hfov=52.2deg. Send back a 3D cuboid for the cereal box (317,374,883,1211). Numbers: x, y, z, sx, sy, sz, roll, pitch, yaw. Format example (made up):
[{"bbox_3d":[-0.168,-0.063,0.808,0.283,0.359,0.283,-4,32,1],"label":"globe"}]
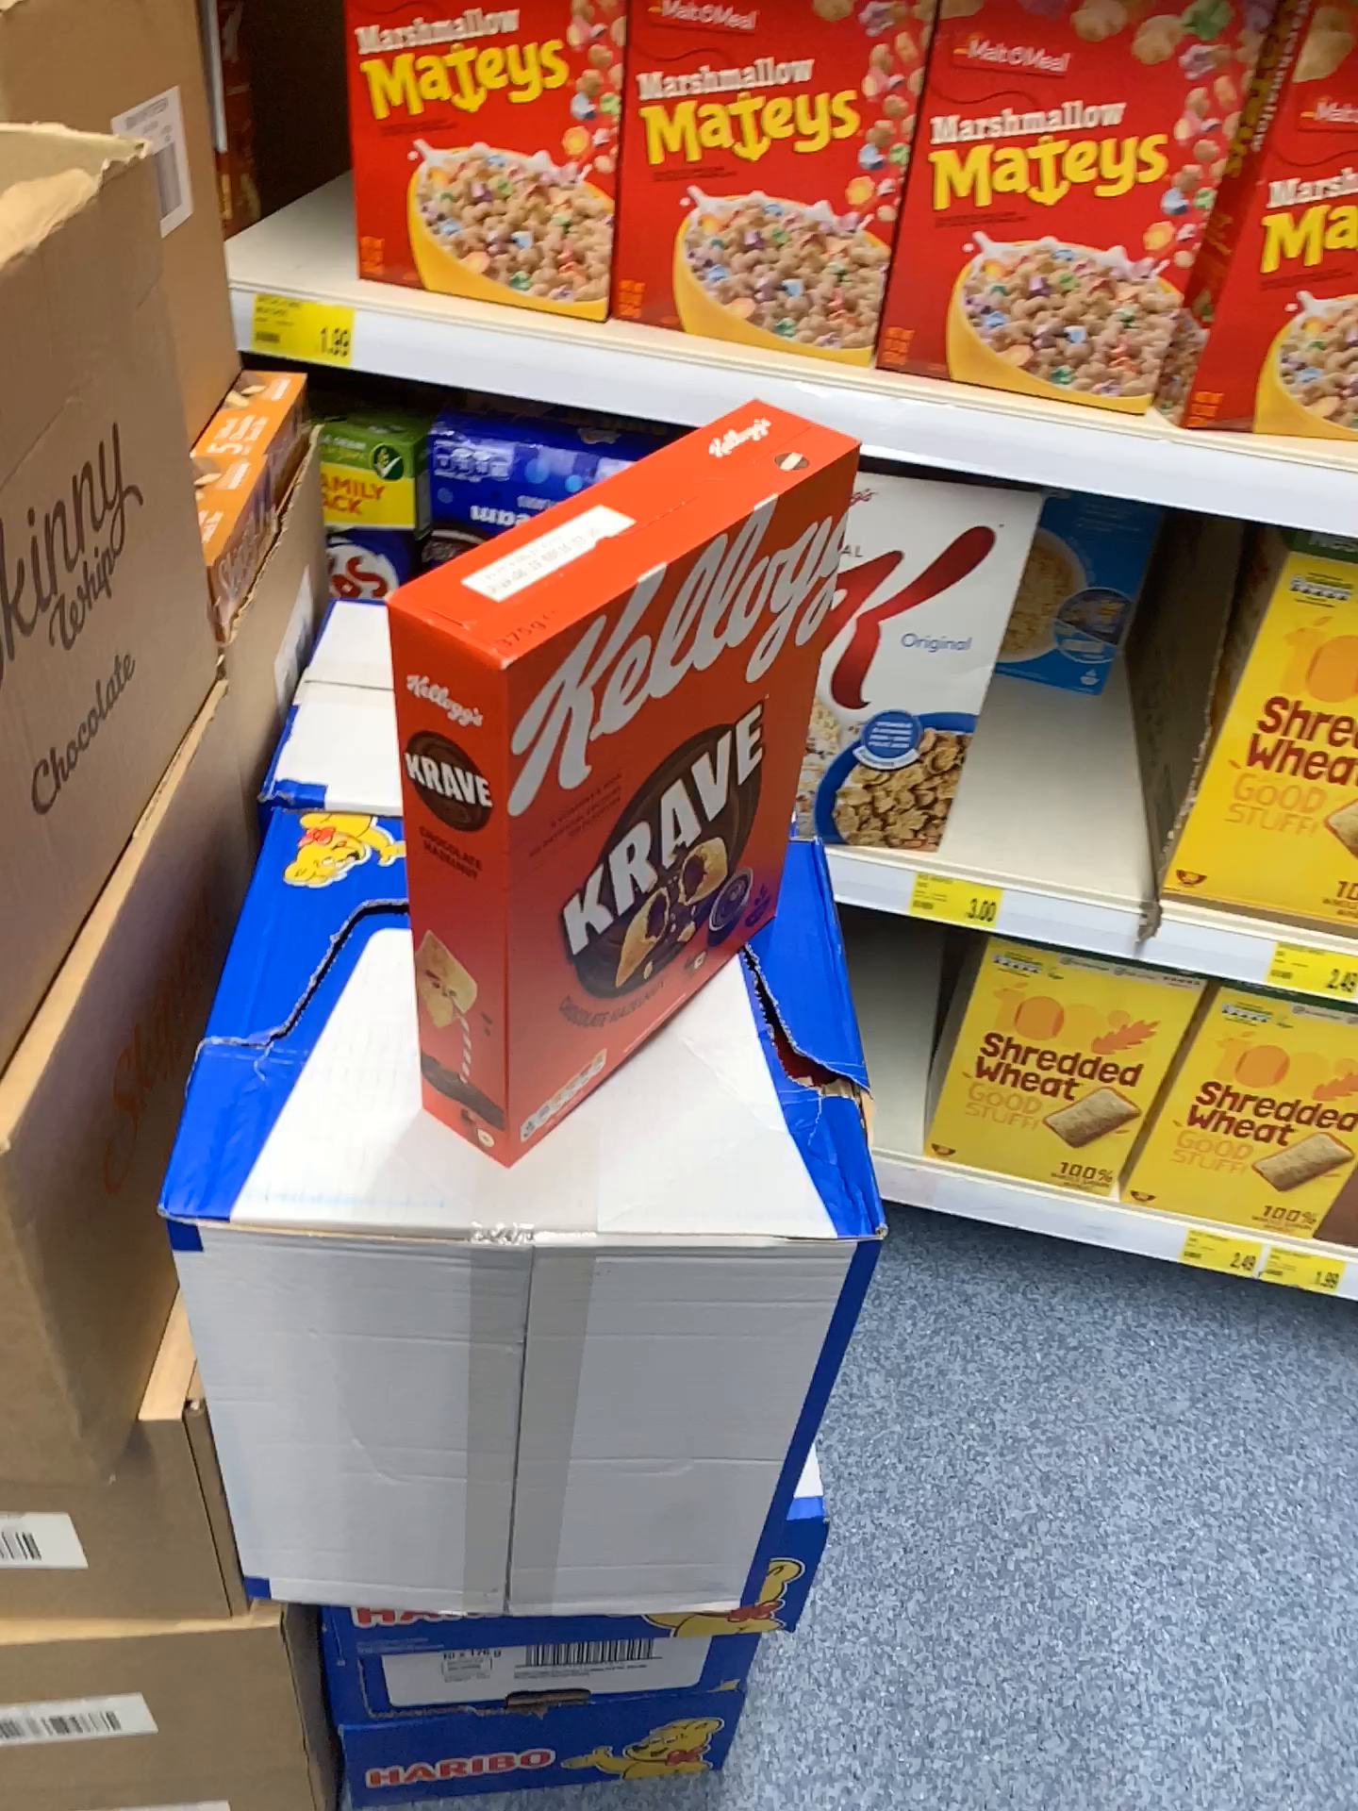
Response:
[{"bbox_3d":[-0.026,-0.039,0.504,0.060,0.238,0.201,30,48,22],"label":"cereal box"}]
